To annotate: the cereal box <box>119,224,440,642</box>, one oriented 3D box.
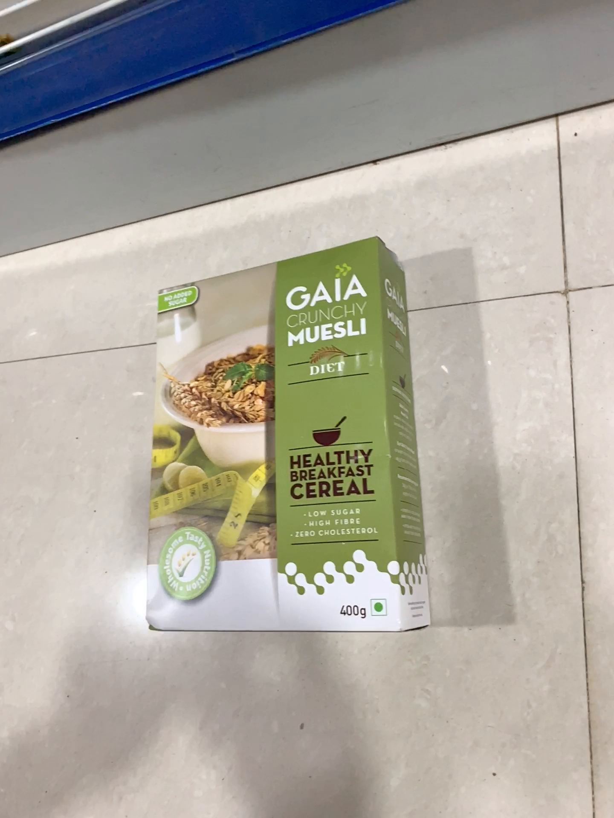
[{"bbox_3d":[-0.022,0.023,0.406,0.181,0.070,0.230,-9,74,24],"label":"cereal box"}]
